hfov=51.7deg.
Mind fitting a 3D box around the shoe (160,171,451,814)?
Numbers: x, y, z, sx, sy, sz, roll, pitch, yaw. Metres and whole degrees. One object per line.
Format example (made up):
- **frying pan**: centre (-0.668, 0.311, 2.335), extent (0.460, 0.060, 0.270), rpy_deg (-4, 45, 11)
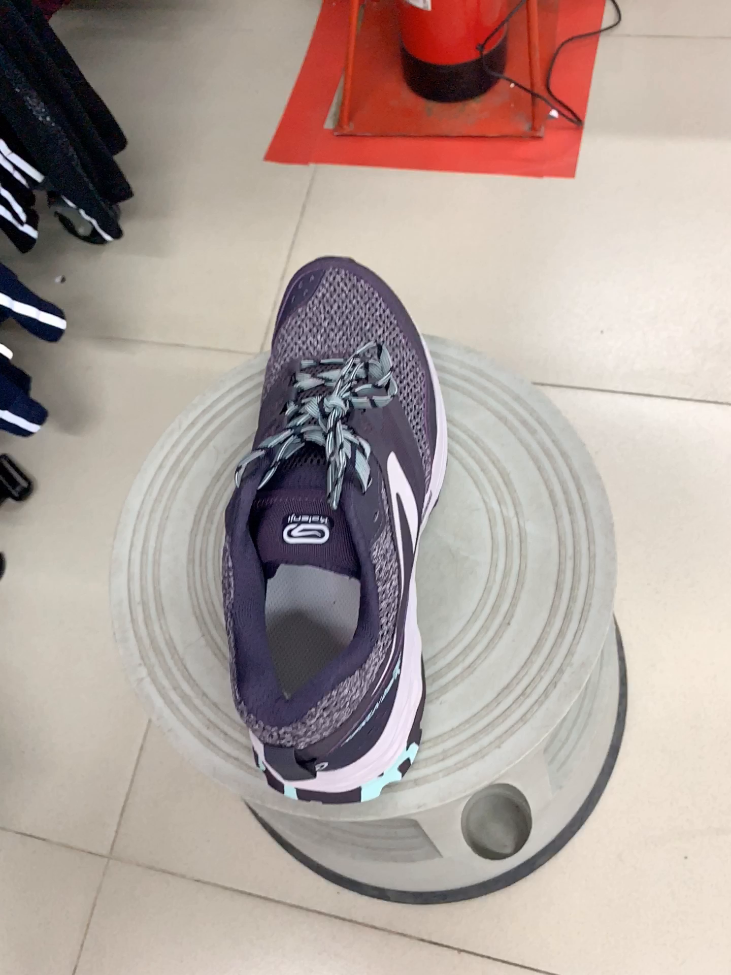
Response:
- **shoe**: centre (-0.010, 0.000, 0.372), extent (0.100, 0.110, 0.290), rpy_deg (-1, 67, 9)
